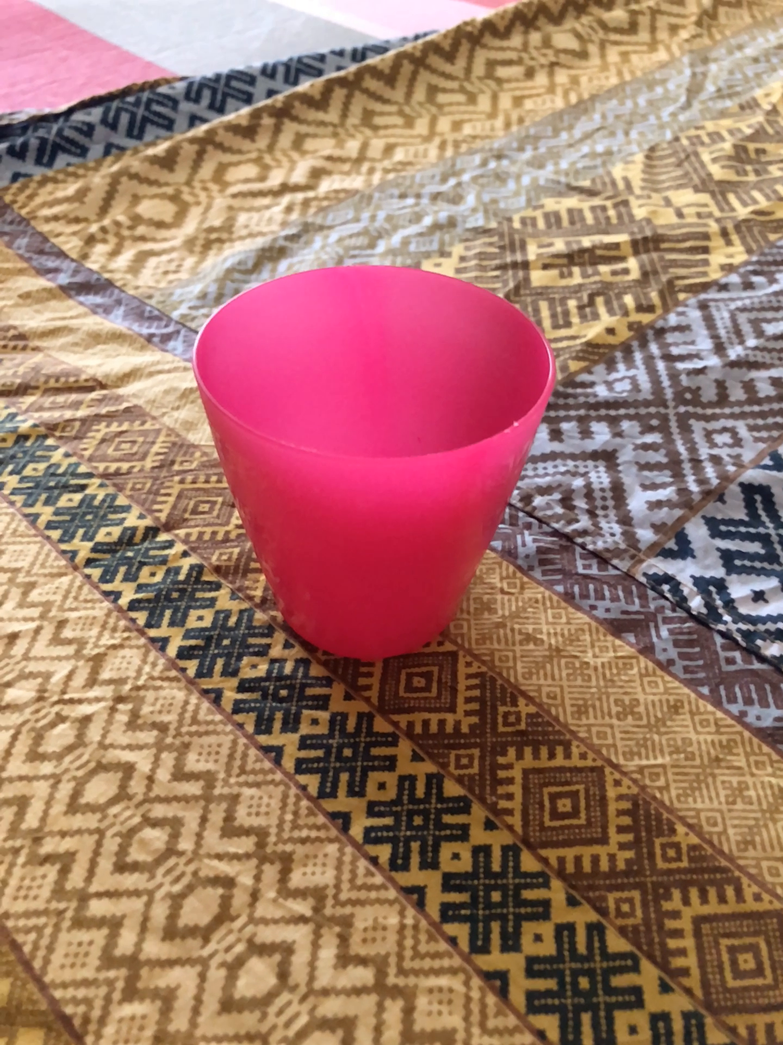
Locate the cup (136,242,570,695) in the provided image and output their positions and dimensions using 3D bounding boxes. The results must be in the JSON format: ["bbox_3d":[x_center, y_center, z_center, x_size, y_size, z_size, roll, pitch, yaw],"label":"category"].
[{"bbox_3d":[-0.003,-0.016,0.214,0.078,0.067,0.078,-1,45,1],"label":"cup"}]
